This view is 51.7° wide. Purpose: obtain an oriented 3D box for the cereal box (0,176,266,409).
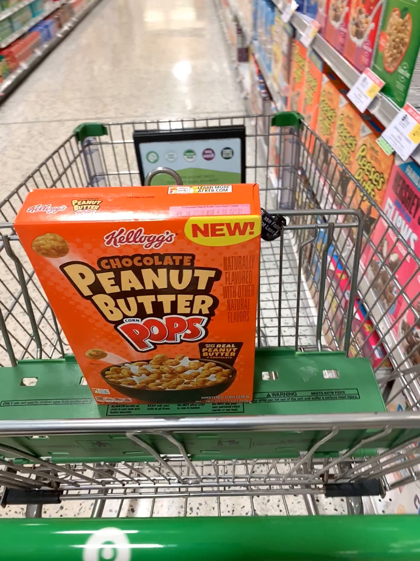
[{"bbox_3d":[-0.053,0.036,0.436,0.200,0.287,0.051,-1,46,2],"label":"cereal box"}]
